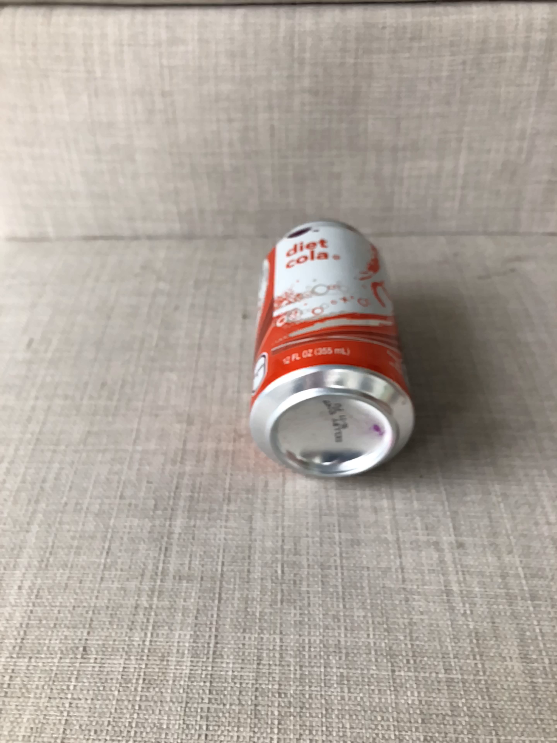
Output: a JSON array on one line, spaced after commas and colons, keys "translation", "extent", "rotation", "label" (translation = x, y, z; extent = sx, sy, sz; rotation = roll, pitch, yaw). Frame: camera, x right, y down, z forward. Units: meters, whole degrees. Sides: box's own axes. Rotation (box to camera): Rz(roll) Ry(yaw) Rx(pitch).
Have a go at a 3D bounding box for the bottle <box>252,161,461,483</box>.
[{"translation": [0.027, -0.030, 0.285], "extent": [0.070, 0.062, 0.150], "rotation": [0, 46, 0], "label": "bottle"}]
